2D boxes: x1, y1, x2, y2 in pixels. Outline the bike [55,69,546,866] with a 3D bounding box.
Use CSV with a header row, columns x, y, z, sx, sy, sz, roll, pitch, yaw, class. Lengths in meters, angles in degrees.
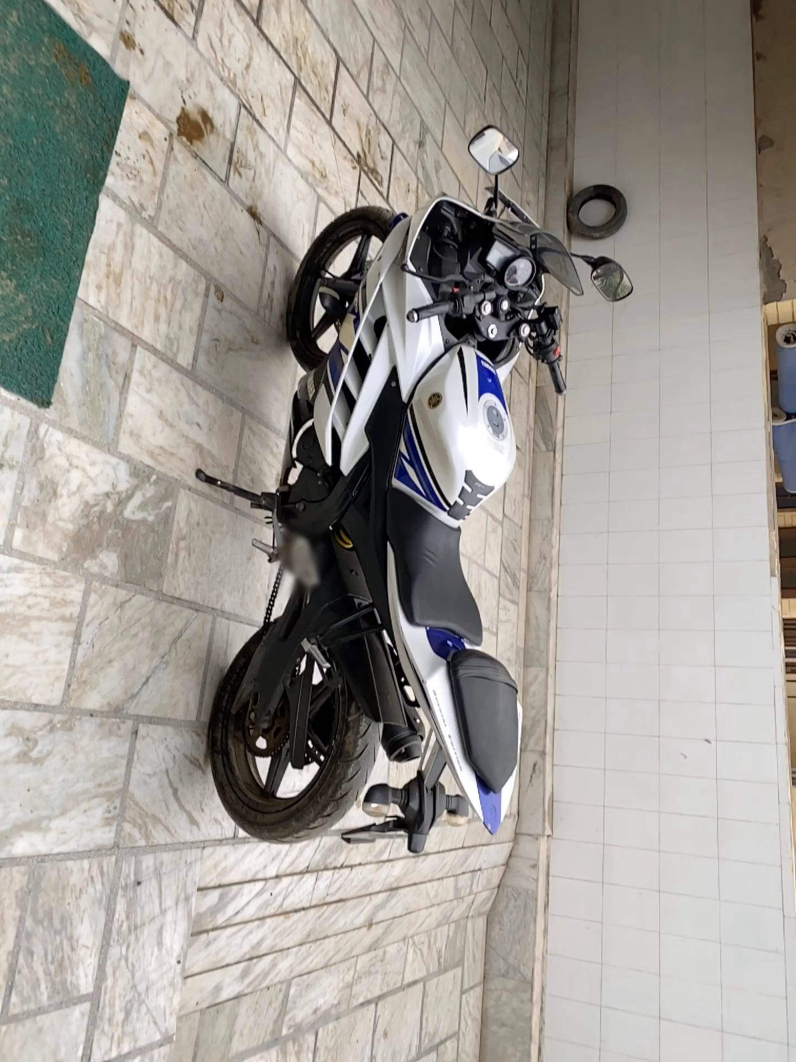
x,y,z,sx,sy,sz,roll,pitch,yaw,class
-0.183,-0.168,2.245,0.737,0.903,1.881,36,51,-57,bike
